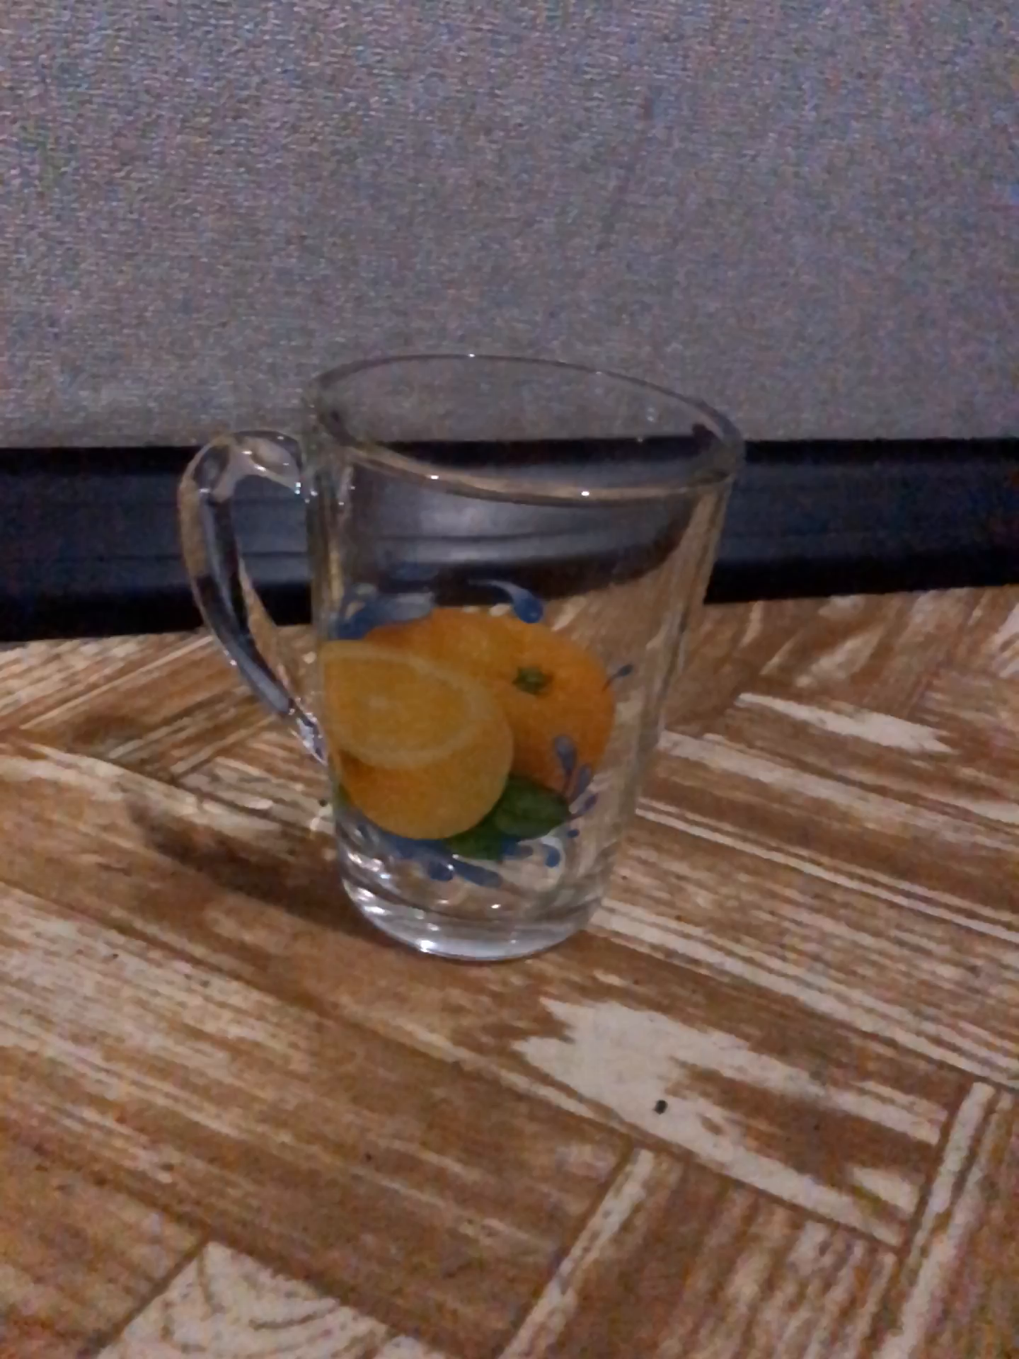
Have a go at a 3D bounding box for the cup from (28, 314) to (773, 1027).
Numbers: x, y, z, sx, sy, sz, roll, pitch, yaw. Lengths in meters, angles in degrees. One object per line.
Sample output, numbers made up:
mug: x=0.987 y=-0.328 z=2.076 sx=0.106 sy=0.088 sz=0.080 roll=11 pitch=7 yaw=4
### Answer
cup: x=-0.018 y=-0.010 z=0.237 sx=0.116 sy=0.098 sz=0.085 roll=14 pitch=31 yaw=13
